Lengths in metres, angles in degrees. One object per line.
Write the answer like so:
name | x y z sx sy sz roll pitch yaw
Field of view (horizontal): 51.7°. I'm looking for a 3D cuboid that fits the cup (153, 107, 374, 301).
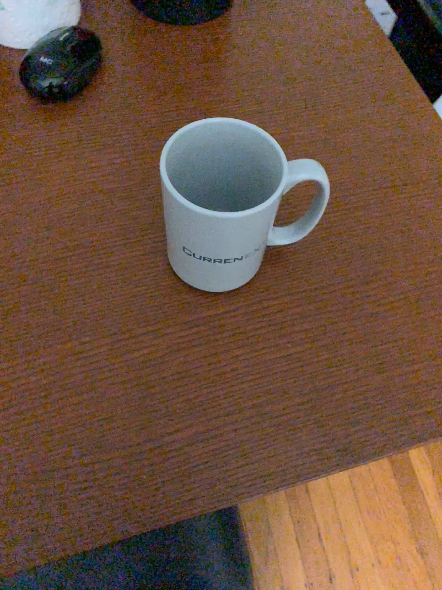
cup | 0.021 -0.066 0.356 0.140 0.110 0.100 -2 64 -5
